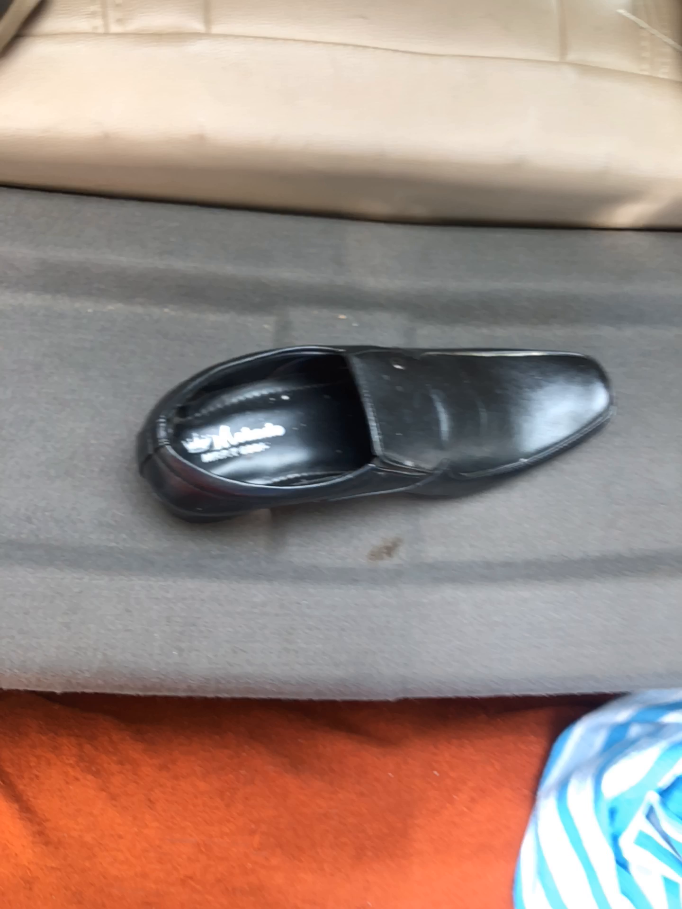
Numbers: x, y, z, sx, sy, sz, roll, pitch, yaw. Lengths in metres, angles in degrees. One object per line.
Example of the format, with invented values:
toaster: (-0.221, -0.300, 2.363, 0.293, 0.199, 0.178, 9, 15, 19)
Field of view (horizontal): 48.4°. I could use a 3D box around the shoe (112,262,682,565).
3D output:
shoe: (0.035, -0.025, 0.440, 0.300, 0.080, 0.100, -11, 70, -11)
